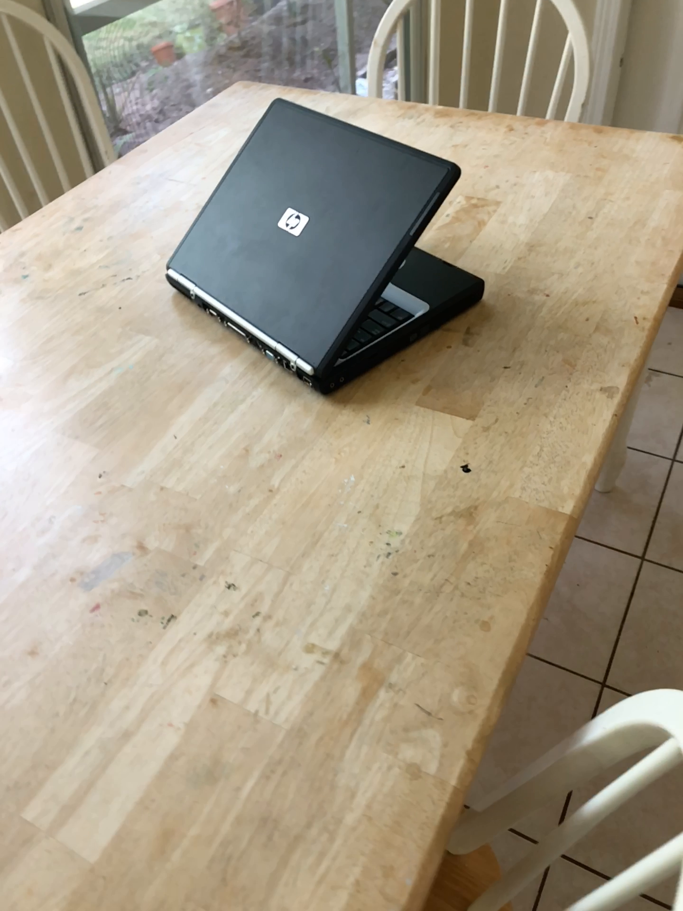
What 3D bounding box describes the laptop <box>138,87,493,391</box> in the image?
[{"bbox_3d":[-0.031,-0.270,0.881,0.255,0.162,0.307,-34,51,-24],"label":"laptop"}]
